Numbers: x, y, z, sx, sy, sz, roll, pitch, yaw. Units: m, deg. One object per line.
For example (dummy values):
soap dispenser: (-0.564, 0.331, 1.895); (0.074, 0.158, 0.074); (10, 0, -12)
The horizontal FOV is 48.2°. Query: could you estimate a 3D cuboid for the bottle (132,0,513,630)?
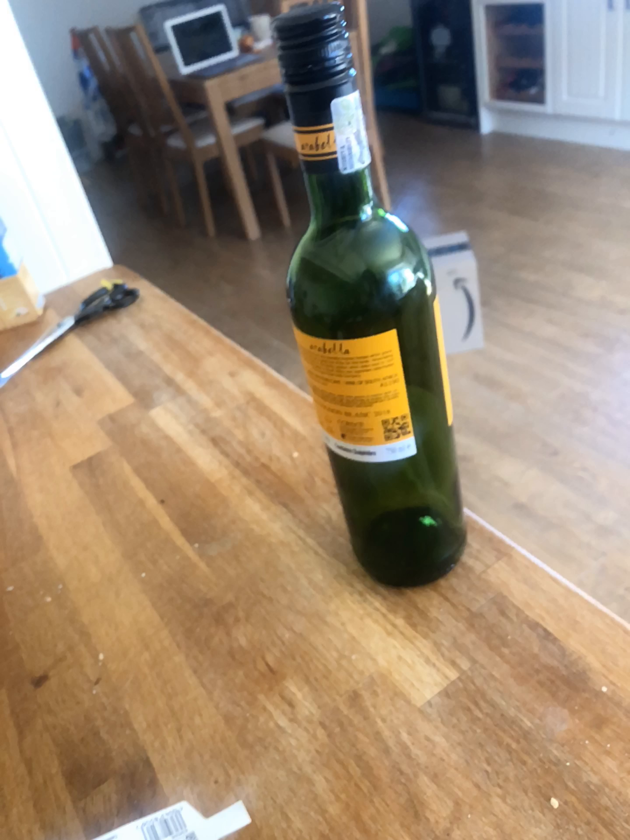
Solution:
bottle: (0.025, -0.046, 0.340); (0.090, 0.298, 0.090); (-10, 35, 7)
